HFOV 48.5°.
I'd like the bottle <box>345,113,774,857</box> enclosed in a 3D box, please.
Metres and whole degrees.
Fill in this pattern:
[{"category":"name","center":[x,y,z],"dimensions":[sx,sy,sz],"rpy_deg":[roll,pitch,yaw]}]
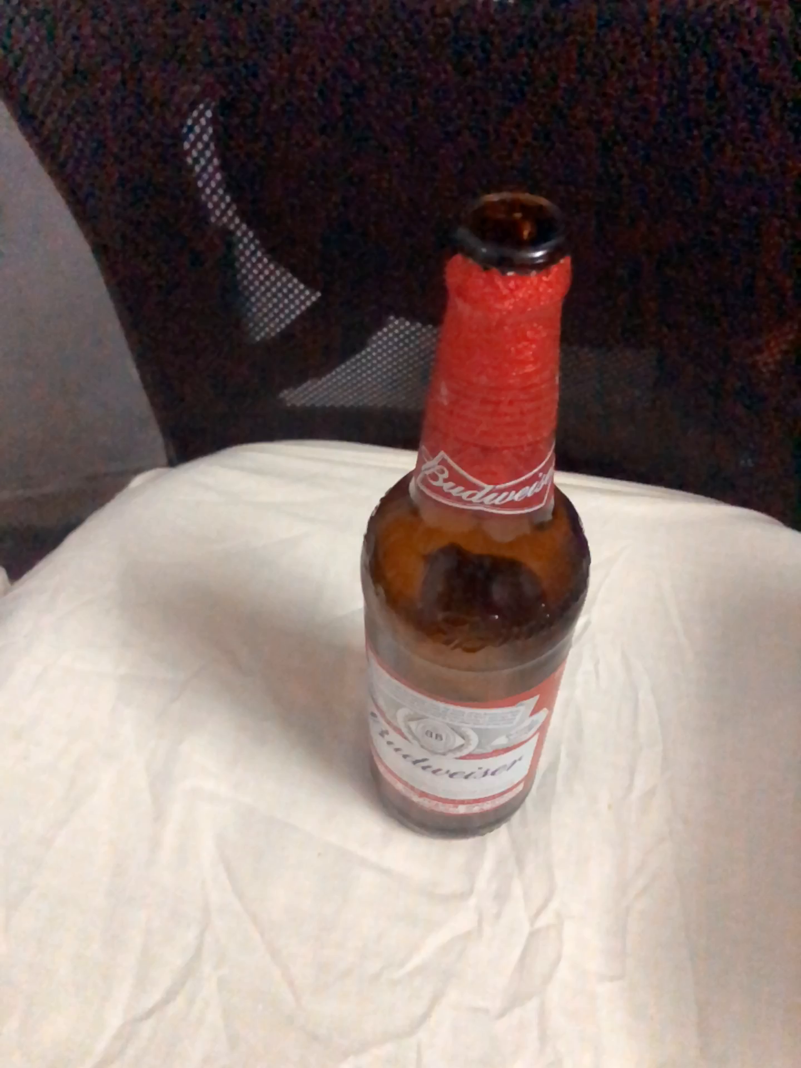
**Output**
[{"category":"bottle","center":[0.032,0.019,0.296],"dimensions":[0.080,0.279,0.070],"rpy_deg":[12,53,7]}]
